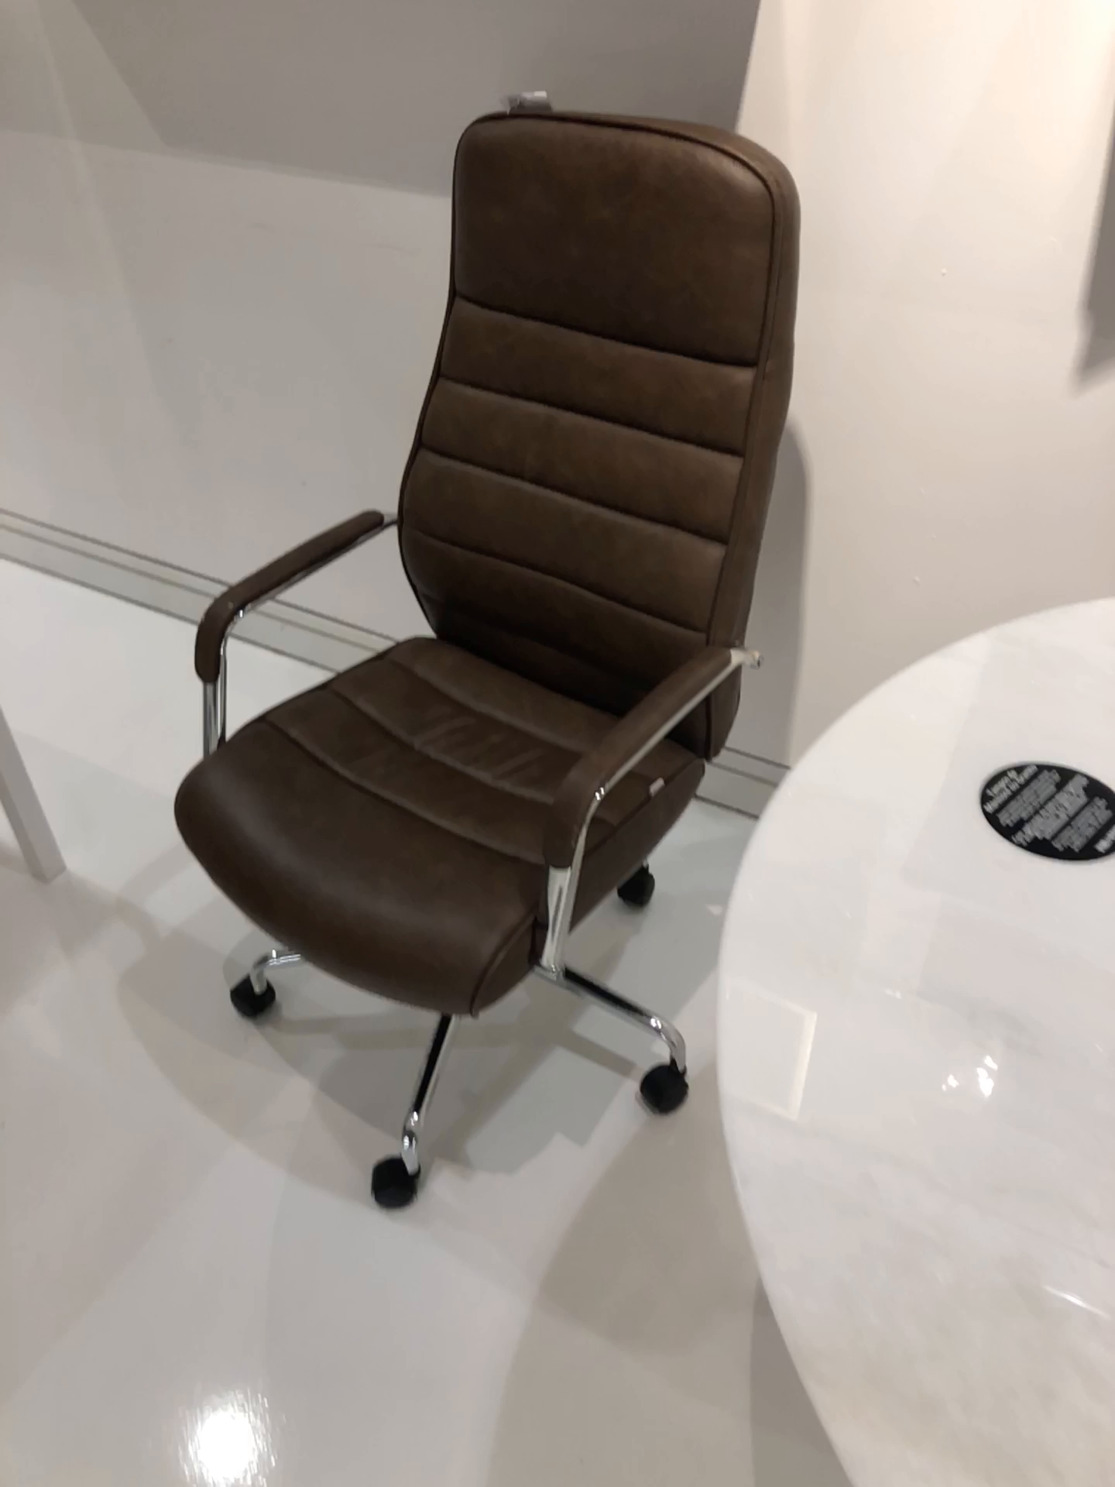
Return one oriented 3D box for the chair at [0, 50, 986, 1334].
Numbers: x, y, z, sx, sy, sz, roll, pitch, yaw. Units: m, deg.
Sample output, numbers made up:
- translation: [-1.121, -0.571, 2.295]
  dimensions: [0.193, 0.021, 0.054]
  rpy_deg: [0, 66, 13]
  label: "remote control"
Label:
- translation: [-0.084, -0.086, 1.497]
  dimensions: [0.702, 1.170, 0.784]
  rpy_deg: [26, 46, 30]
  label: "chair"
